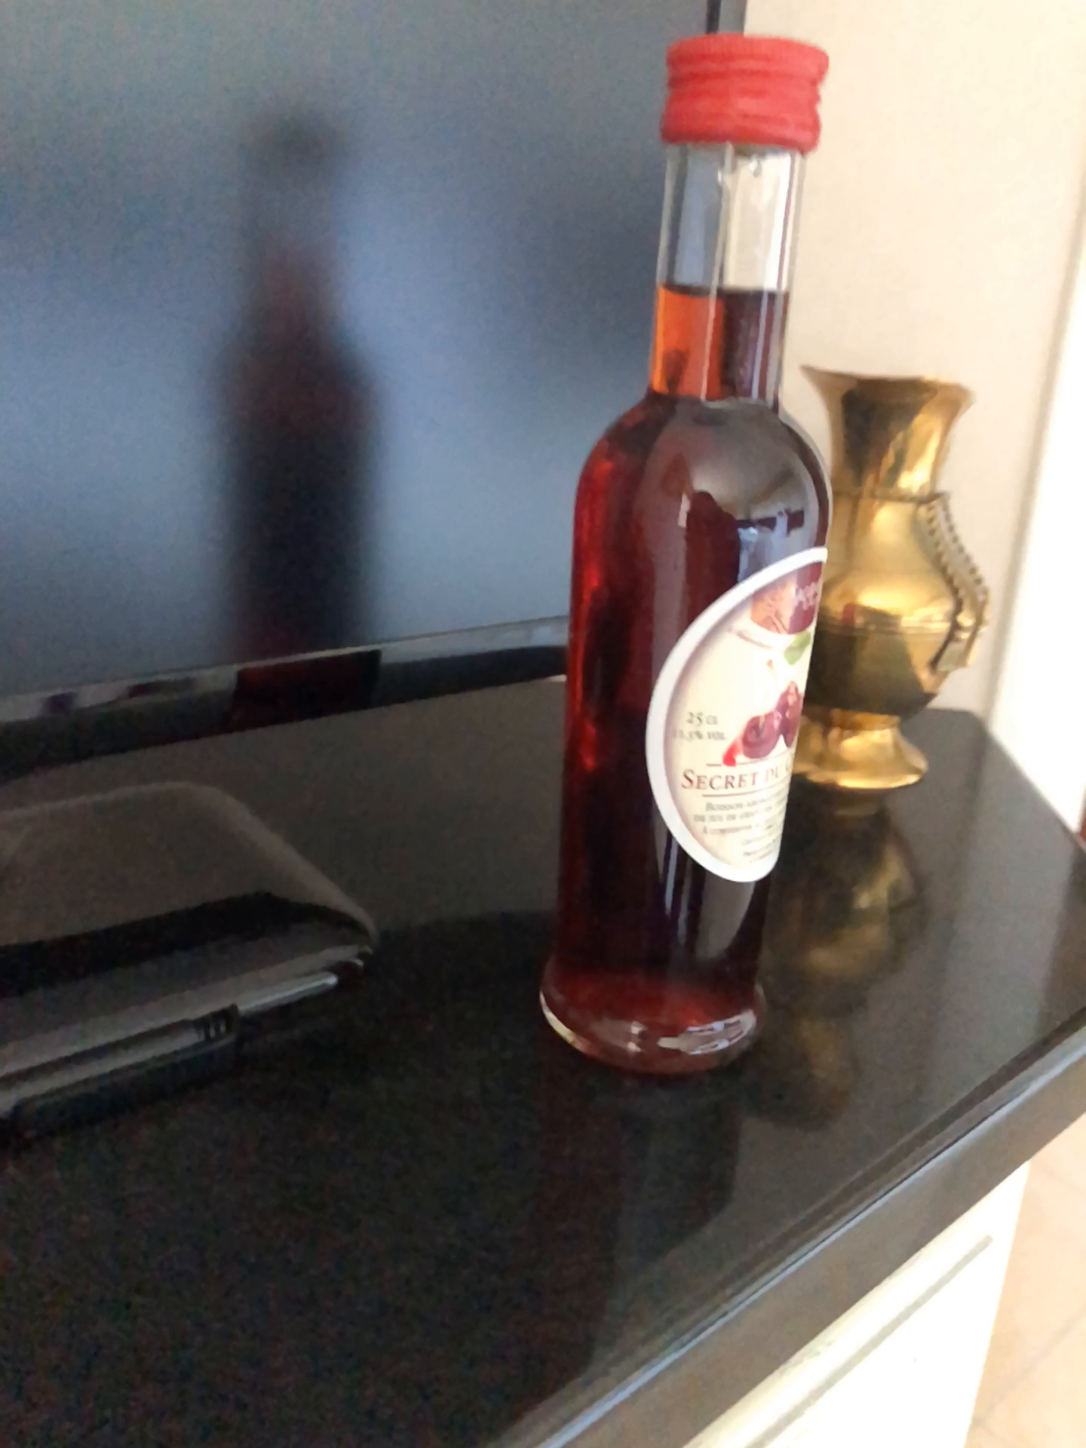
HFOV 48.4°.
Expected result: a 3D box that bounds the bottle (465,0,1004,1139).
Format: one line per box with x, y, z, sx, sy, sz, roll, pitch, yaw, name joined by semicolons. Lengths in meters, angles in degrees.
0.036;-0.030;0.273;0.070;0.219;0.070;3;20;-1;bottle
